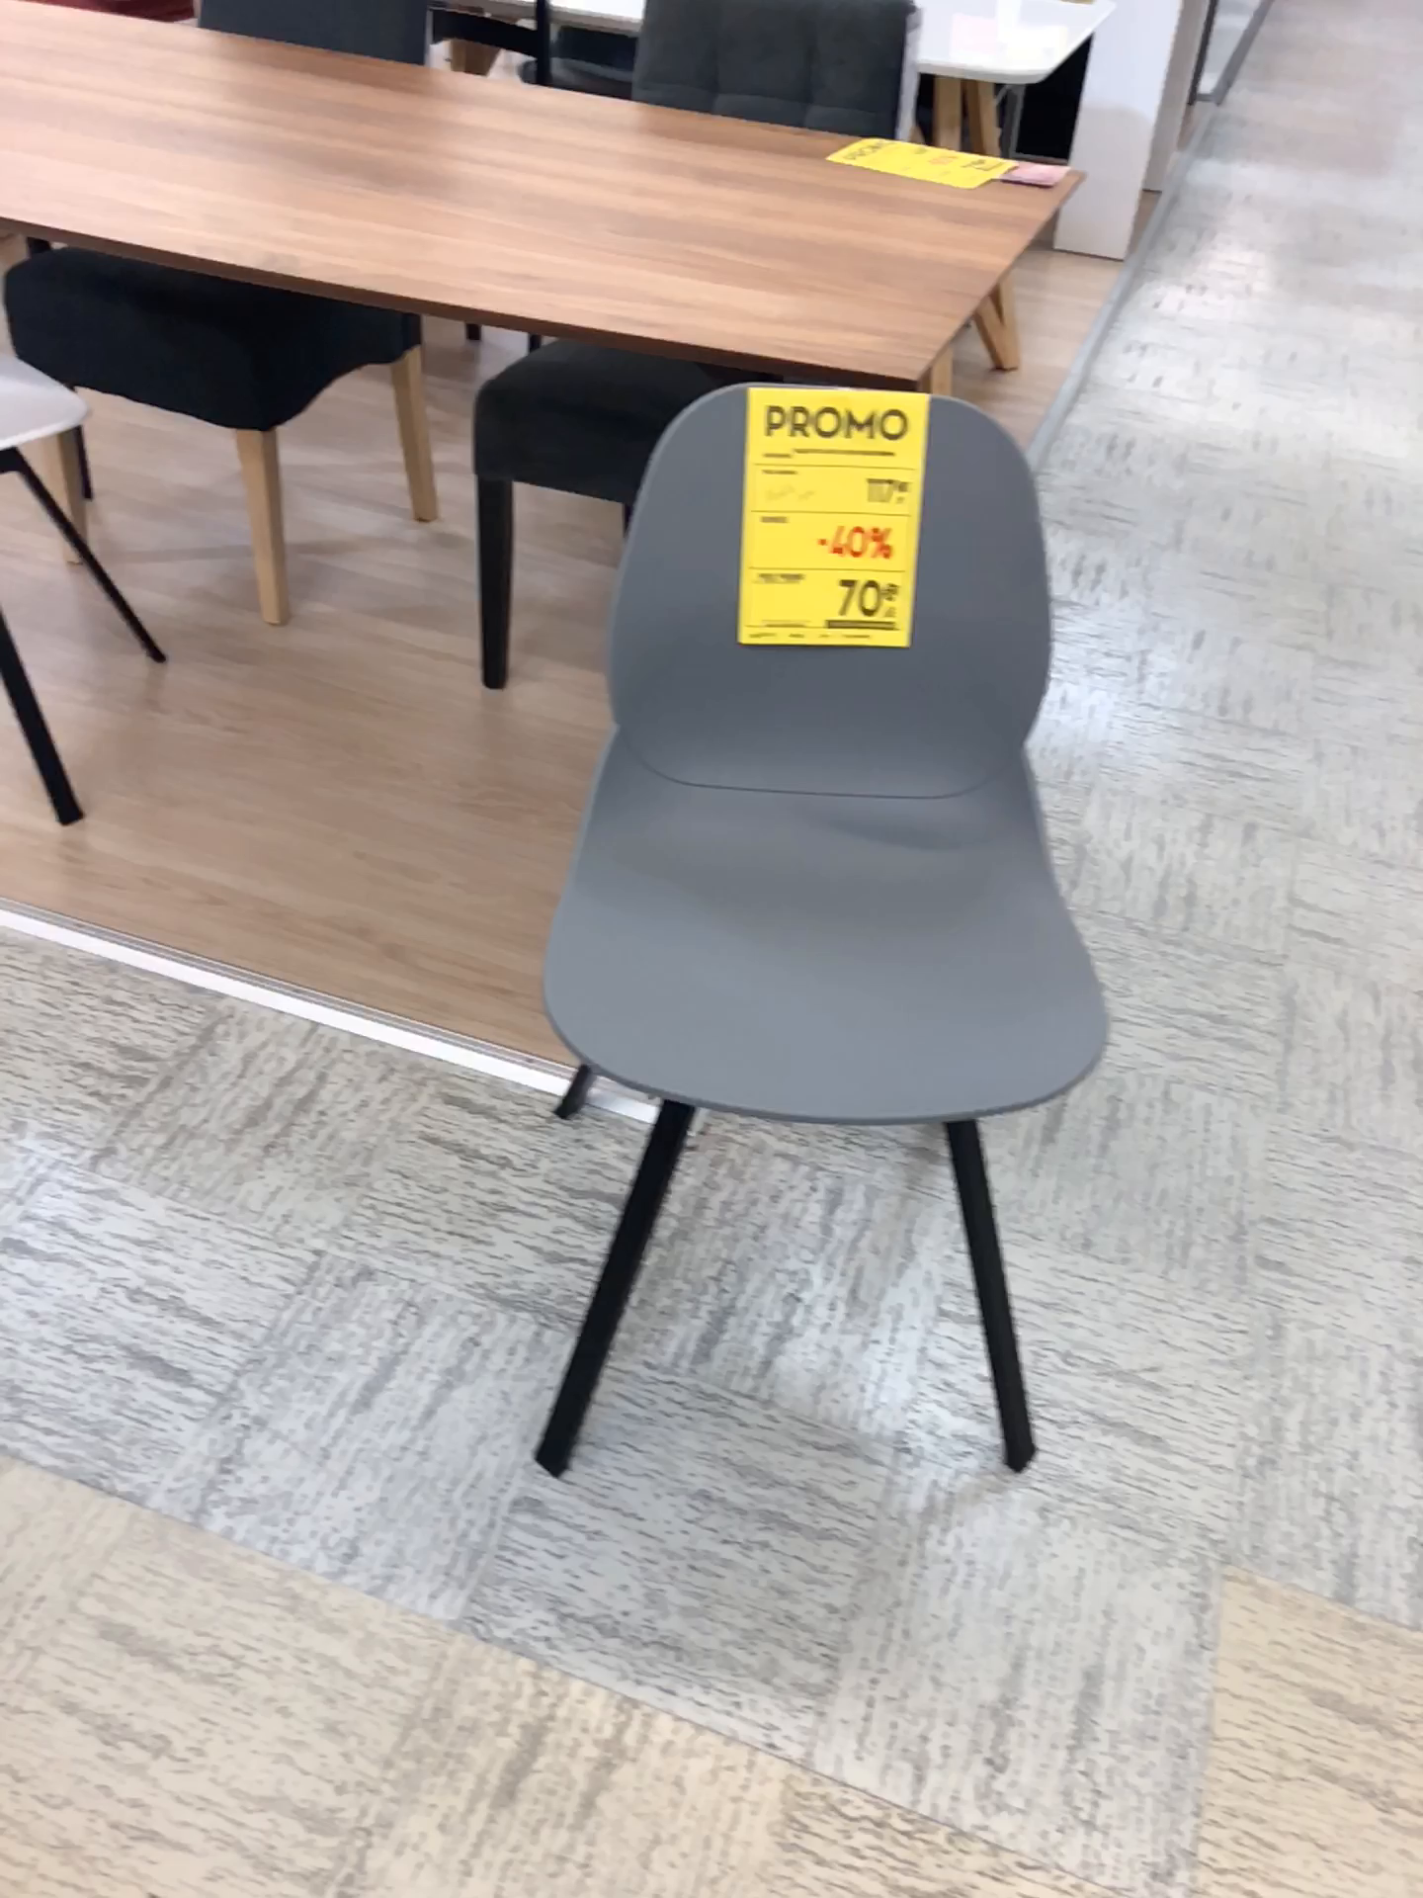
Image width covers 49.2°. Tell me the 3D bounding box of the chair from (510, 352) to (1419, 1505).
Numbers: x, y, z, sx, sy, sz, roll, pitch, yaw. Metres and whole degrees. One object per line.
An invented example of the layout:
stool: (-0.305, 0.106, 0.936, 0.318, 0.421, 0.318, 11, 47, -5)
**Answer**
chair: (0.101, -0.011, 1.316, 0.510, 0.755, 0.583, 0, 39, -6)
